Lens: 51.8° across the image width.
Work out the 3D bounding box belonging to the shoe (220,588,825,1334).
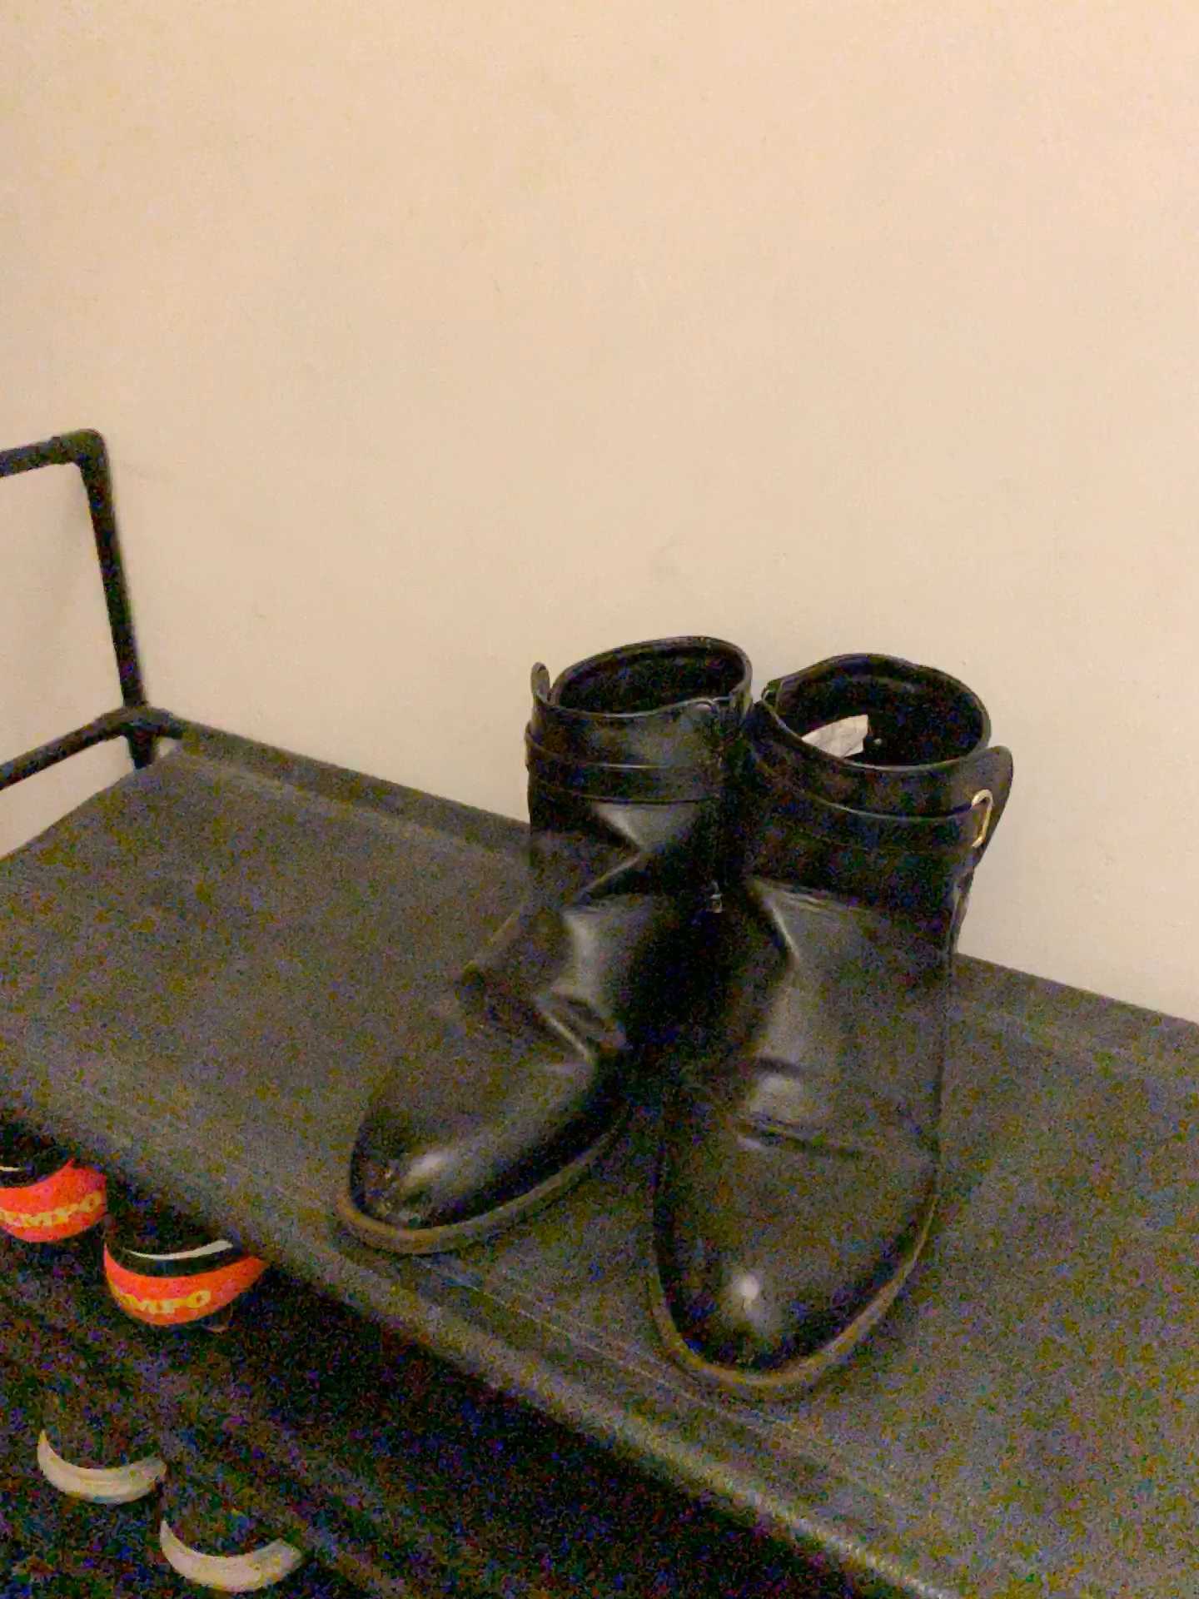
[{"bbox_3d":[-0.013,0.040,0.465,0.100,0.168,0.222,16,32,28],"label":"shoe"}]

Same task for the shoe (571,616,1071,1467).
[{"bbox_3d":[0.087,0.060,0.440,0.100,0.168,0.242,12,30,21],"label":"shoe"}]
